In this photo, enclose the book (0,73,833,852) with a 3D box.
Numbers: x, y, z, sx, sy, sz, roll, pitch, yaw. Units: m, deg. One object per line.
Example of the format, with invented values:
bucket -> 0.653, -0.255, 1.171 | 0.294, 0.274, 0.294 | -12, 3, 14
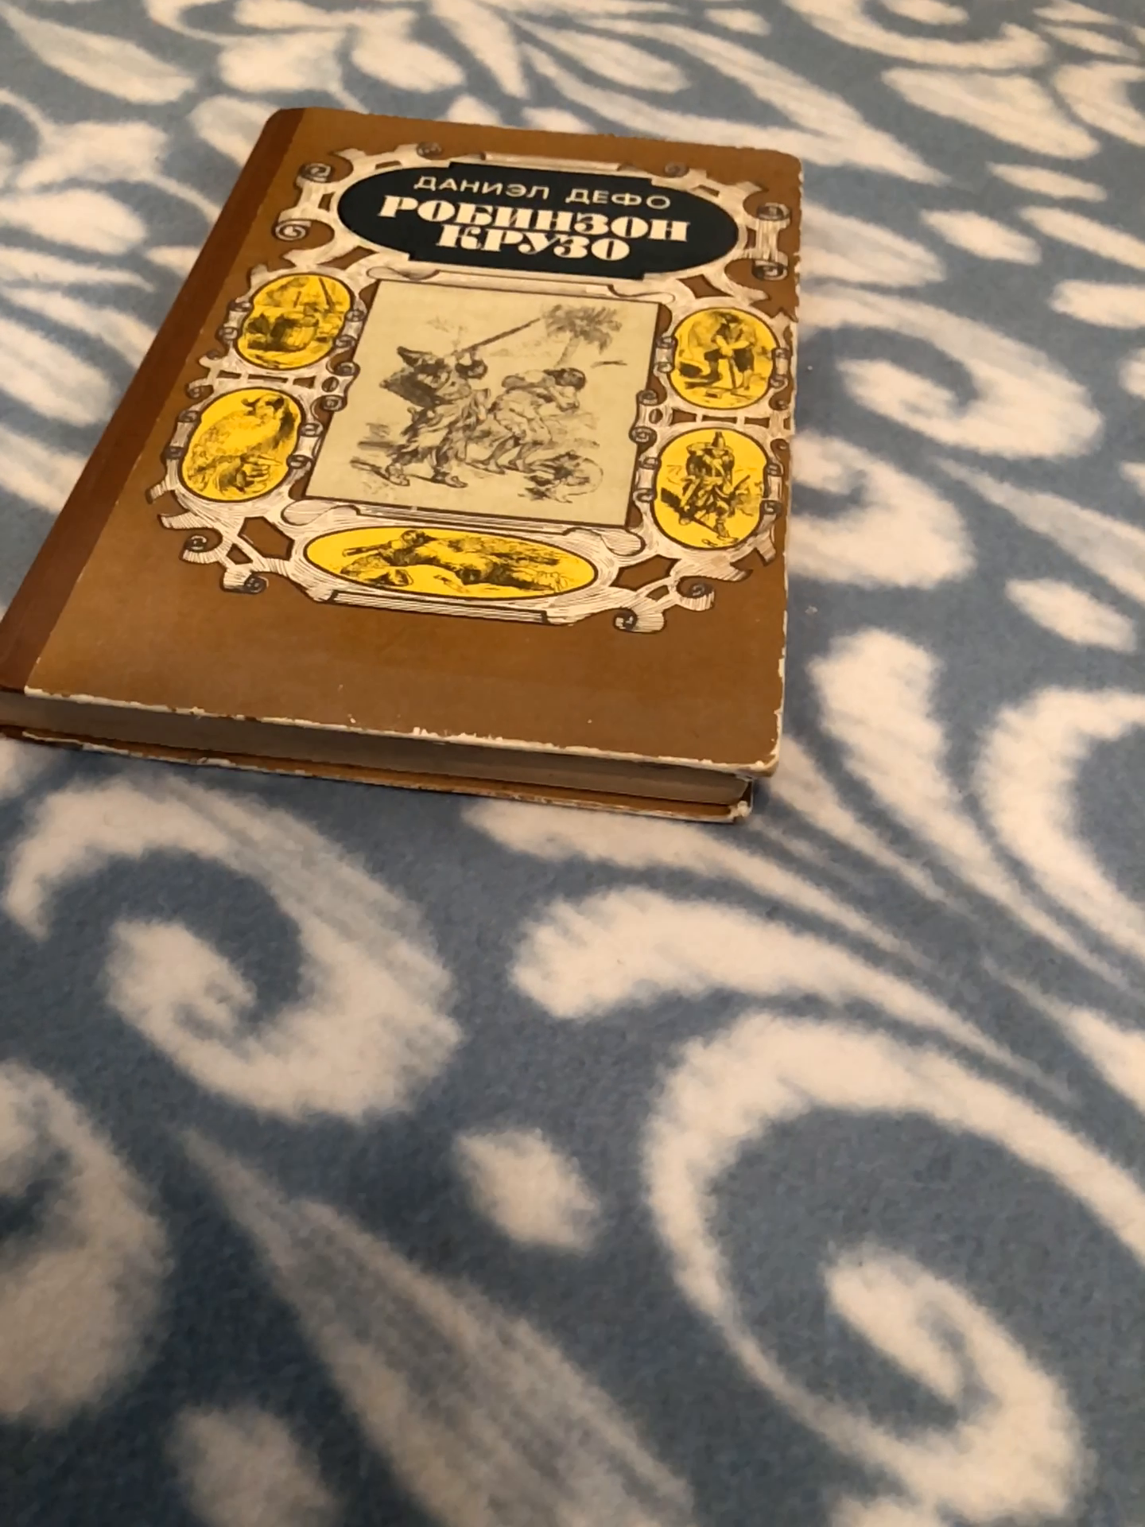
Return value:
book -> -0.028, -0.096, 0.317 | 0.178, 0.024, 0.243 | 6, 54, 4
